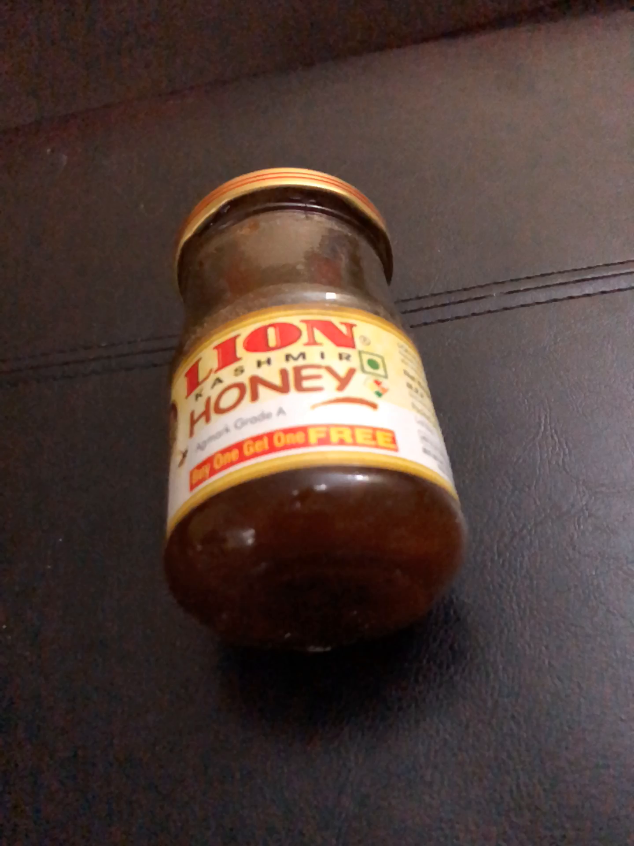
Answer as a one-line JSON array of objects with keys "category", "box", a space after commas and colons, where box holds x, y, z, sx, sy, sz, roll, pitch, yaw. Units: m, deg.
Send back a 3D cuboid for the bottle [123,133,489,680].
[{"category": "bottle", "box": [-0.003, -0.005, 0.169, 0.060, 0.059, 0.108, -9, 56, 4]}]
